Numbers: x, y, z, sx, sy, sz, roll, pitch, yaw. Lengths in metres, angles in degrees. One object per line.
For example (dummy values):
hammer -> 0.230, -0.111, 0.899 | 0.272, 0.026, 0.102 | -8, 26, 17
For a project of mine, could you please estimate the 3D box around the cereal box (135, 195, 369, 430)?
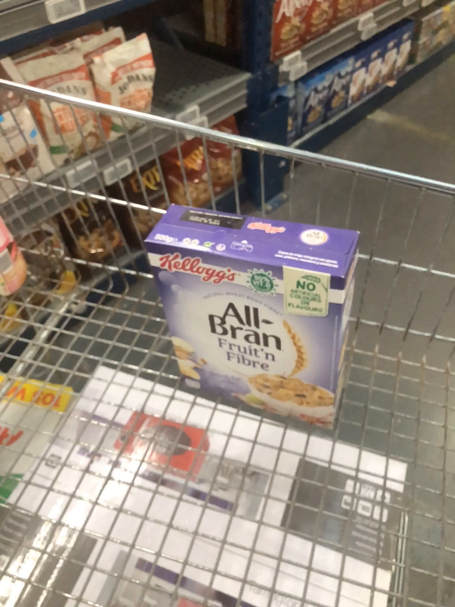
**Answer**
cereal box -> 0.033, 0.015, 0.547 | 0.200, 0.229, 0.080 | 11, 48, 19
